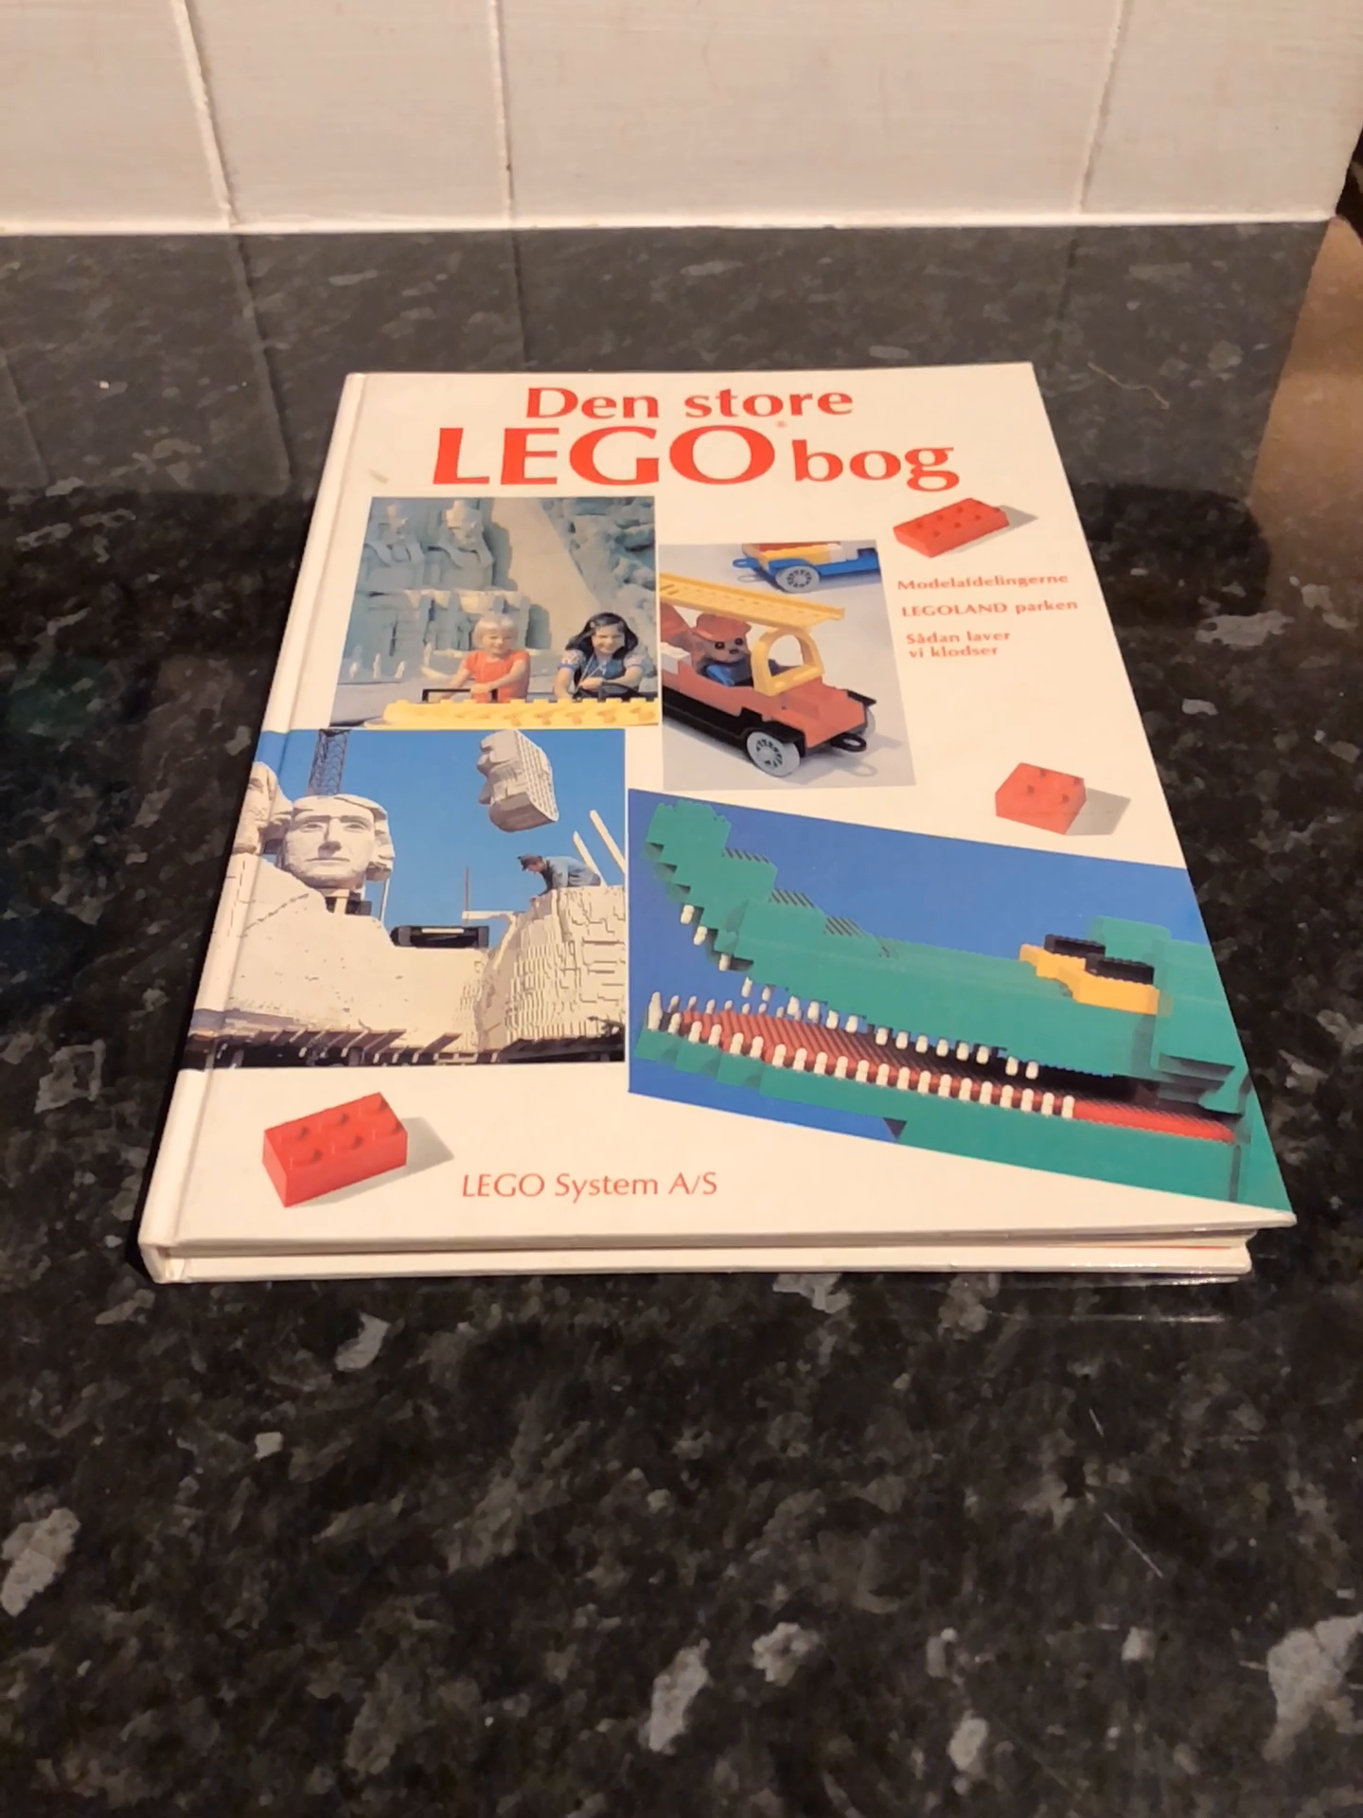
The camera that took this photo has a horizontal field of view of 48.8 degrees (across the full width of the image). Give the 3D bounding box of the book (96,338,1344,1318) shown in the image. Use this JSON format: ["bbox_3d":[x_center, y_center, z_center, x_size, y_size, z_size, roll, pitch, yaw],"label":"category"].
[{"bbox_3d":[0.005,-0.047,0.358,0.210,0.030,0.292,0,50,-1],"label":"book"}]
